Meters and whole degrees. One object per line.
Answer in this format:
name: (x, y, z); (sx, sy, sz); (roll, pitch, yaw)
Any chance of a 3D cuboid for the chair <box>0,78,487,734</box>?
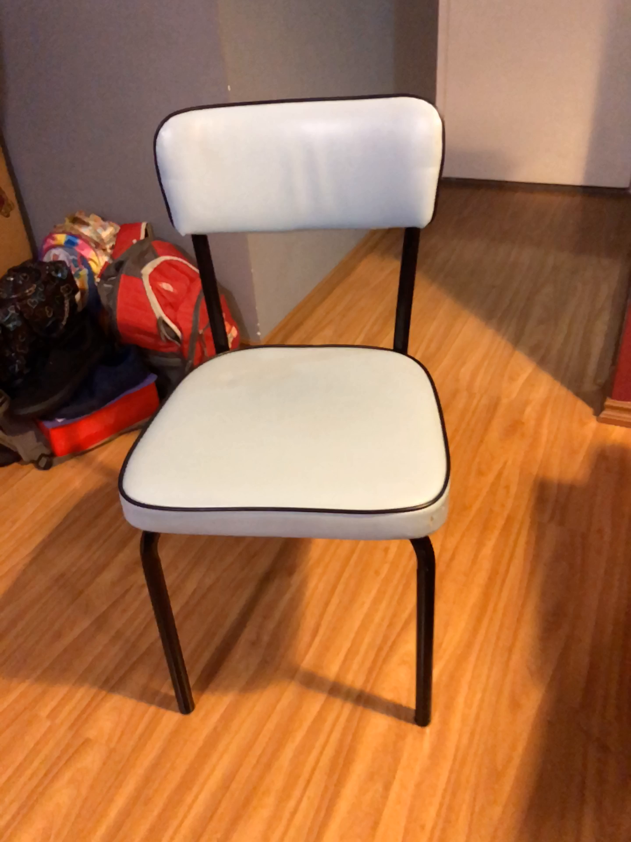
chair: (-0.026, -0.012, 1.031); (0.450, 0.794, 0.504); (0, 35, 8)
